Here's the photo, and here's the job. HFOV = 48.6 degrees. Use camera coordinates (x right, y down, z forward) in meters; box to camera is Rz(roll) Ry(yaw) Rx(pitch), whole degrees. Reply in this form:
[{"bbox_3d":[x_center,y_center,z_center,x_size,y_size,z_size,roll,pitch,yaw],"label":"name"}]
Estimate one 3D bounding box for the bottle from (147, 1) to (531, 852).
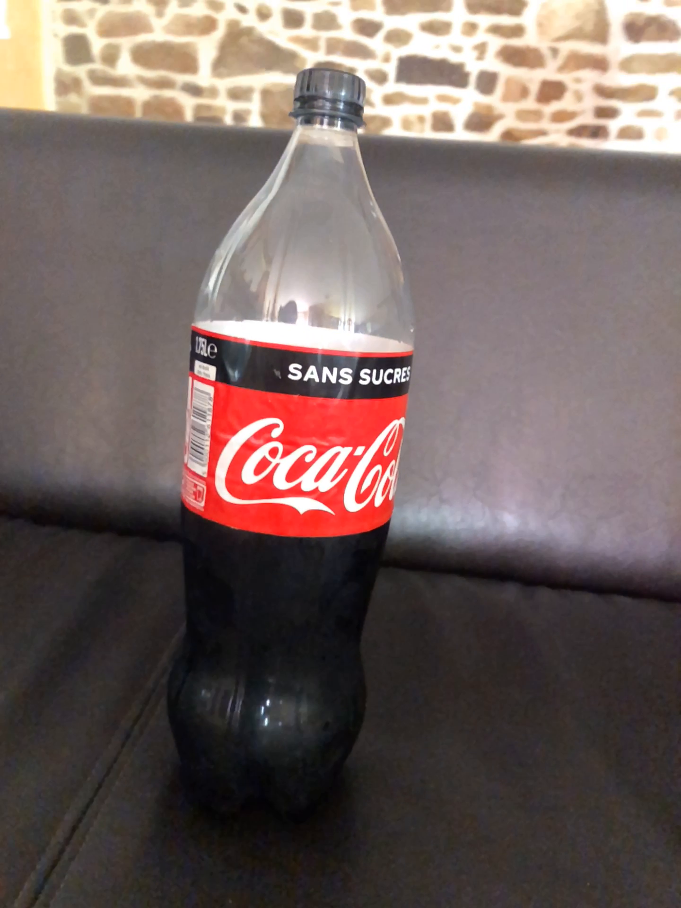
[{"bbox_3d":[-0.013,-0.005,0.342,0.100,0.319,0.100,6,15,-2],"label":"bottle"}]
